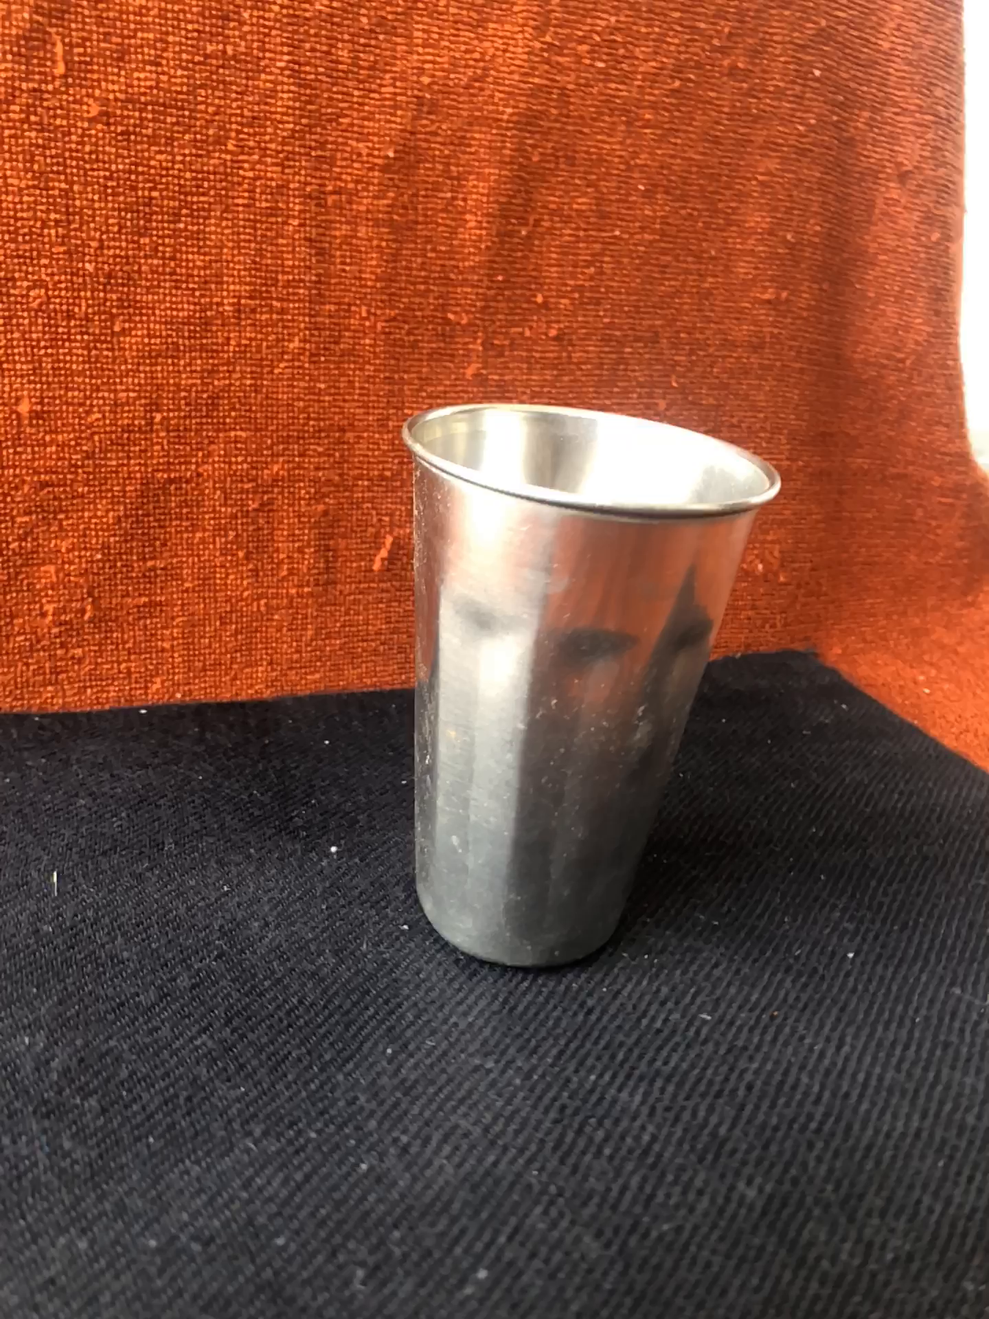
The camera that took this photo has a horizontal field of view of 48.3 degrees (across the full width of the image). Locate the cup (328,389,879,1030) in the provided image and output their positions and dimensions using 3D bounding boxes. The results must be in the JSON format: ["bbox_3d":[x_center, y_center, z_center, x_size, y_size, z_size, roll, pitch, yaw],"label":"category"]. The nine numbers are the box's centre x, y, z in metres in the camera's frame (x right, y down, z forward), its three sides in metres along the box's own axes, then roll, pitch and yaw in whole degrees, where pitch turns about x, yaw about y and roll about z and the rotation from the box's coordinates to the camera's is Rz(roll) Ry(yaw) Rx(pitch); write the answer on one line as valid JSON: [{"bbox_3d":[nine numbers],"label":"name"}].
[{"bbox_3d":[0.014,0.004,0.223,0.070,0.100,0.070,6,23,-3],"label":"cup"}]
